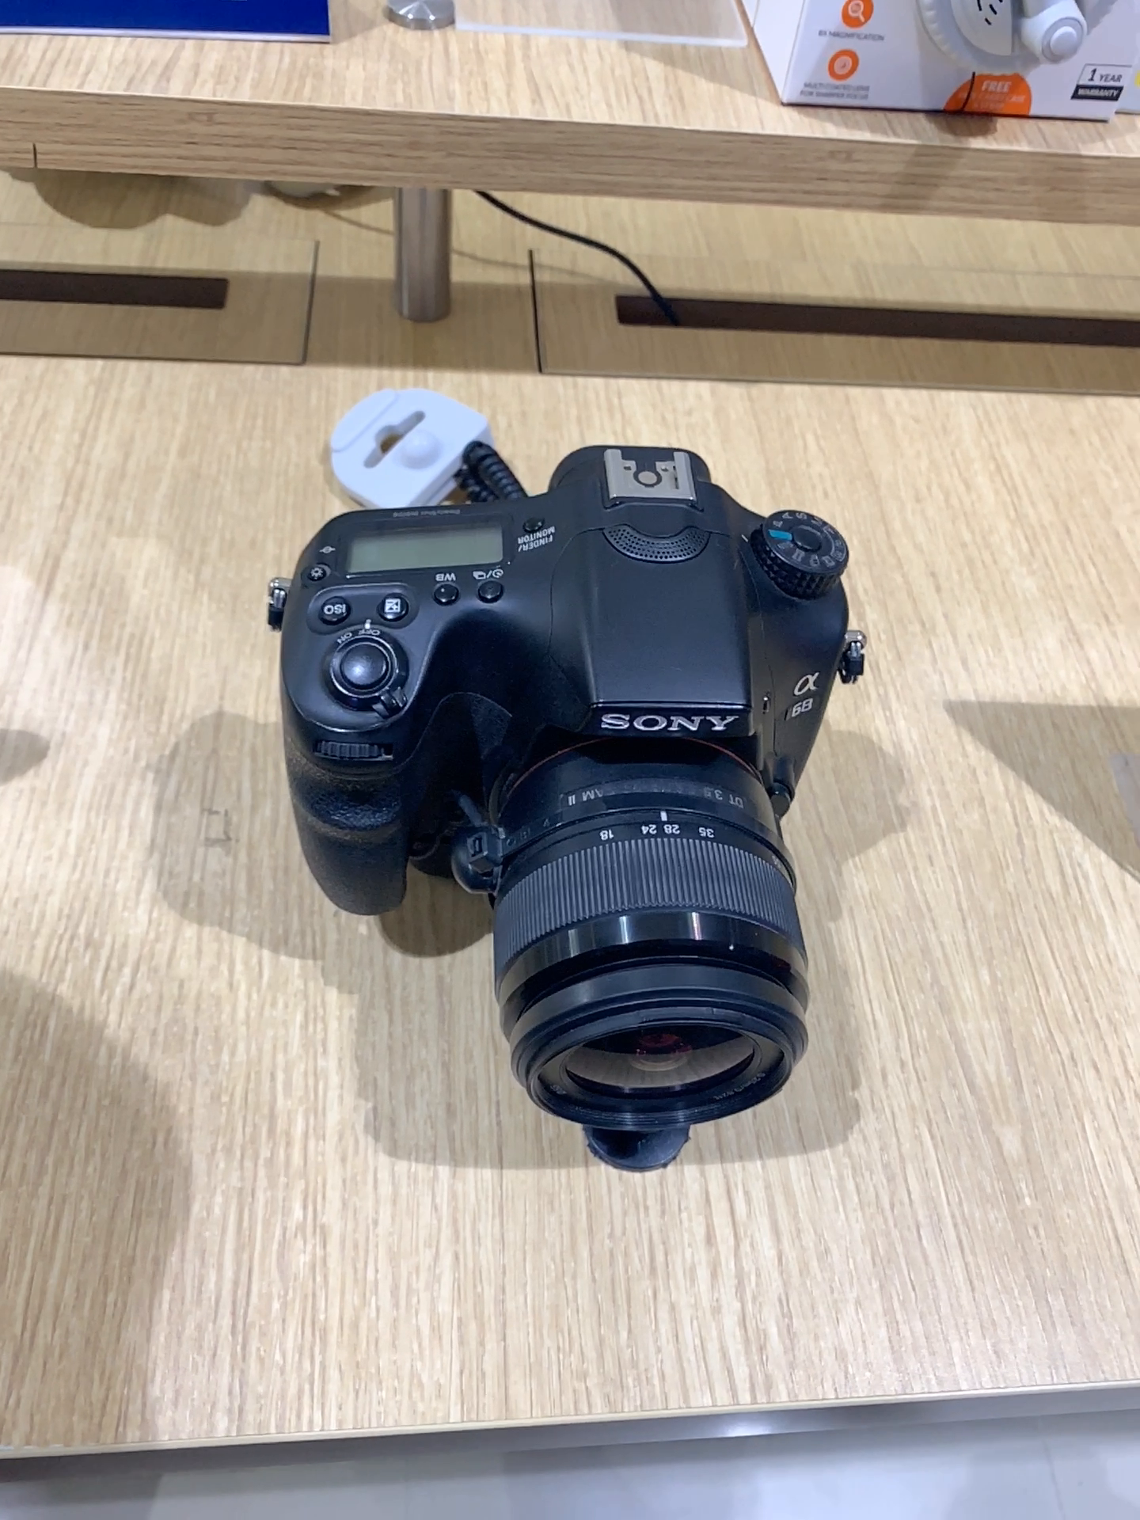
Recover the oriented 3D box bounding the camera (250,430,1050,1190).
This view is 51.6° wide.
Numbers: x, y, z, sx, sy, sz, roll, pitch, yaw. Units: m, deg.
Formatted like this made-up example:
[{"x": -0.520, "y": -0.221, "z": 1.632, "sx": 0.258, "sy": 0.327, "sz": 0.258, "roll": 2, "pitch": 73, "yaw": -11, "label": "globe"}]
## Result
[{"x": 0.005, "y": 0.009, "z": 0.268, "sx": 0.130, "sy": 0.100, "sz": 0.135, "roll": -1, "pitch": 53, "yaw": -7, "label": "camera"}]
